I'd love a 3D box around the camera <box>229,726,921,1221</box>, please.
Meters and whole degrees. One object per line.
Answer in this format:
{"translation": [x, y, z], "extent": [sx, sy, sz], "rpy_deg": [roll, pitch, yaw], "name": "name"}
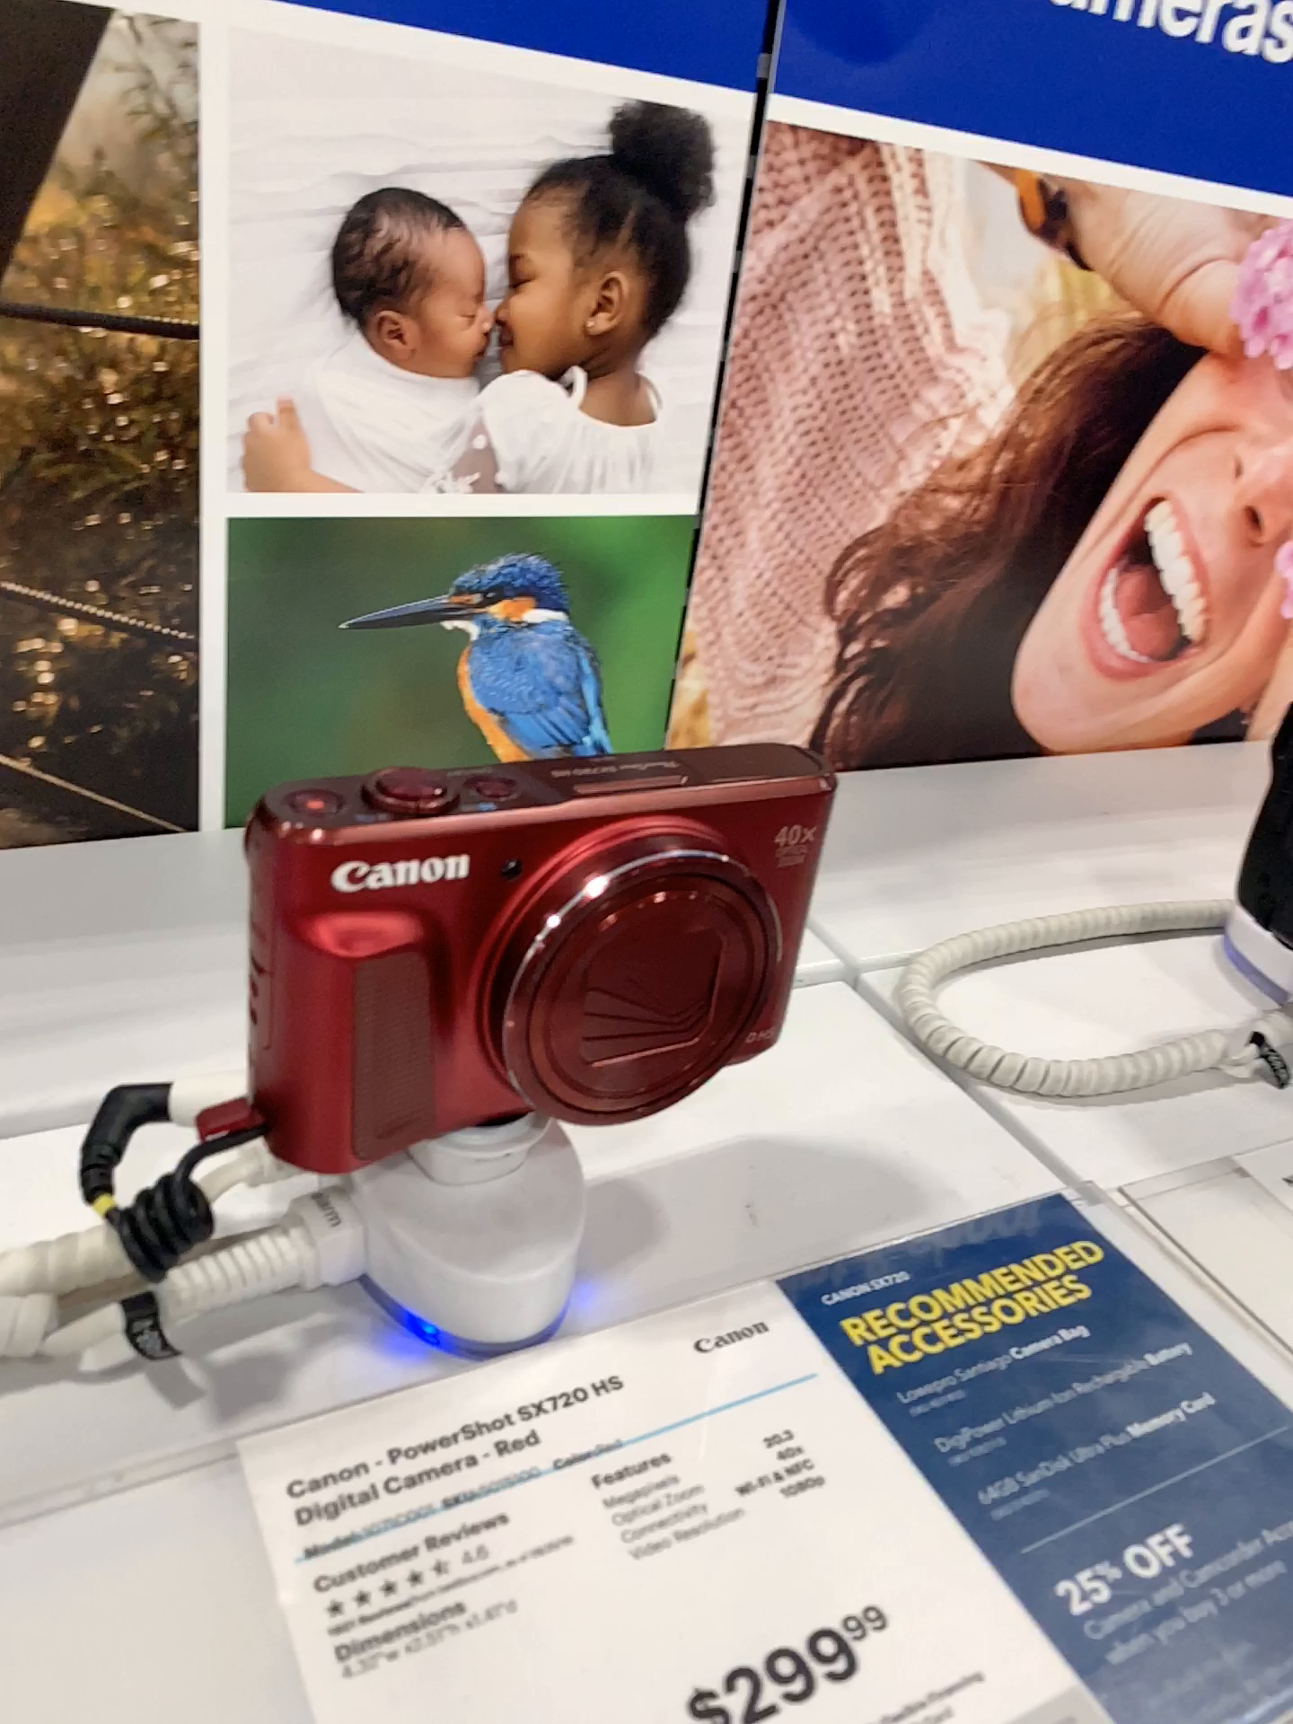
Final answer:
{"translation": [-0.012, 0.014, 0.234], "extent": [0.110, 0.060, 0.037], "rpy_deg": [-7, 29, -30], "name": "camera"}
